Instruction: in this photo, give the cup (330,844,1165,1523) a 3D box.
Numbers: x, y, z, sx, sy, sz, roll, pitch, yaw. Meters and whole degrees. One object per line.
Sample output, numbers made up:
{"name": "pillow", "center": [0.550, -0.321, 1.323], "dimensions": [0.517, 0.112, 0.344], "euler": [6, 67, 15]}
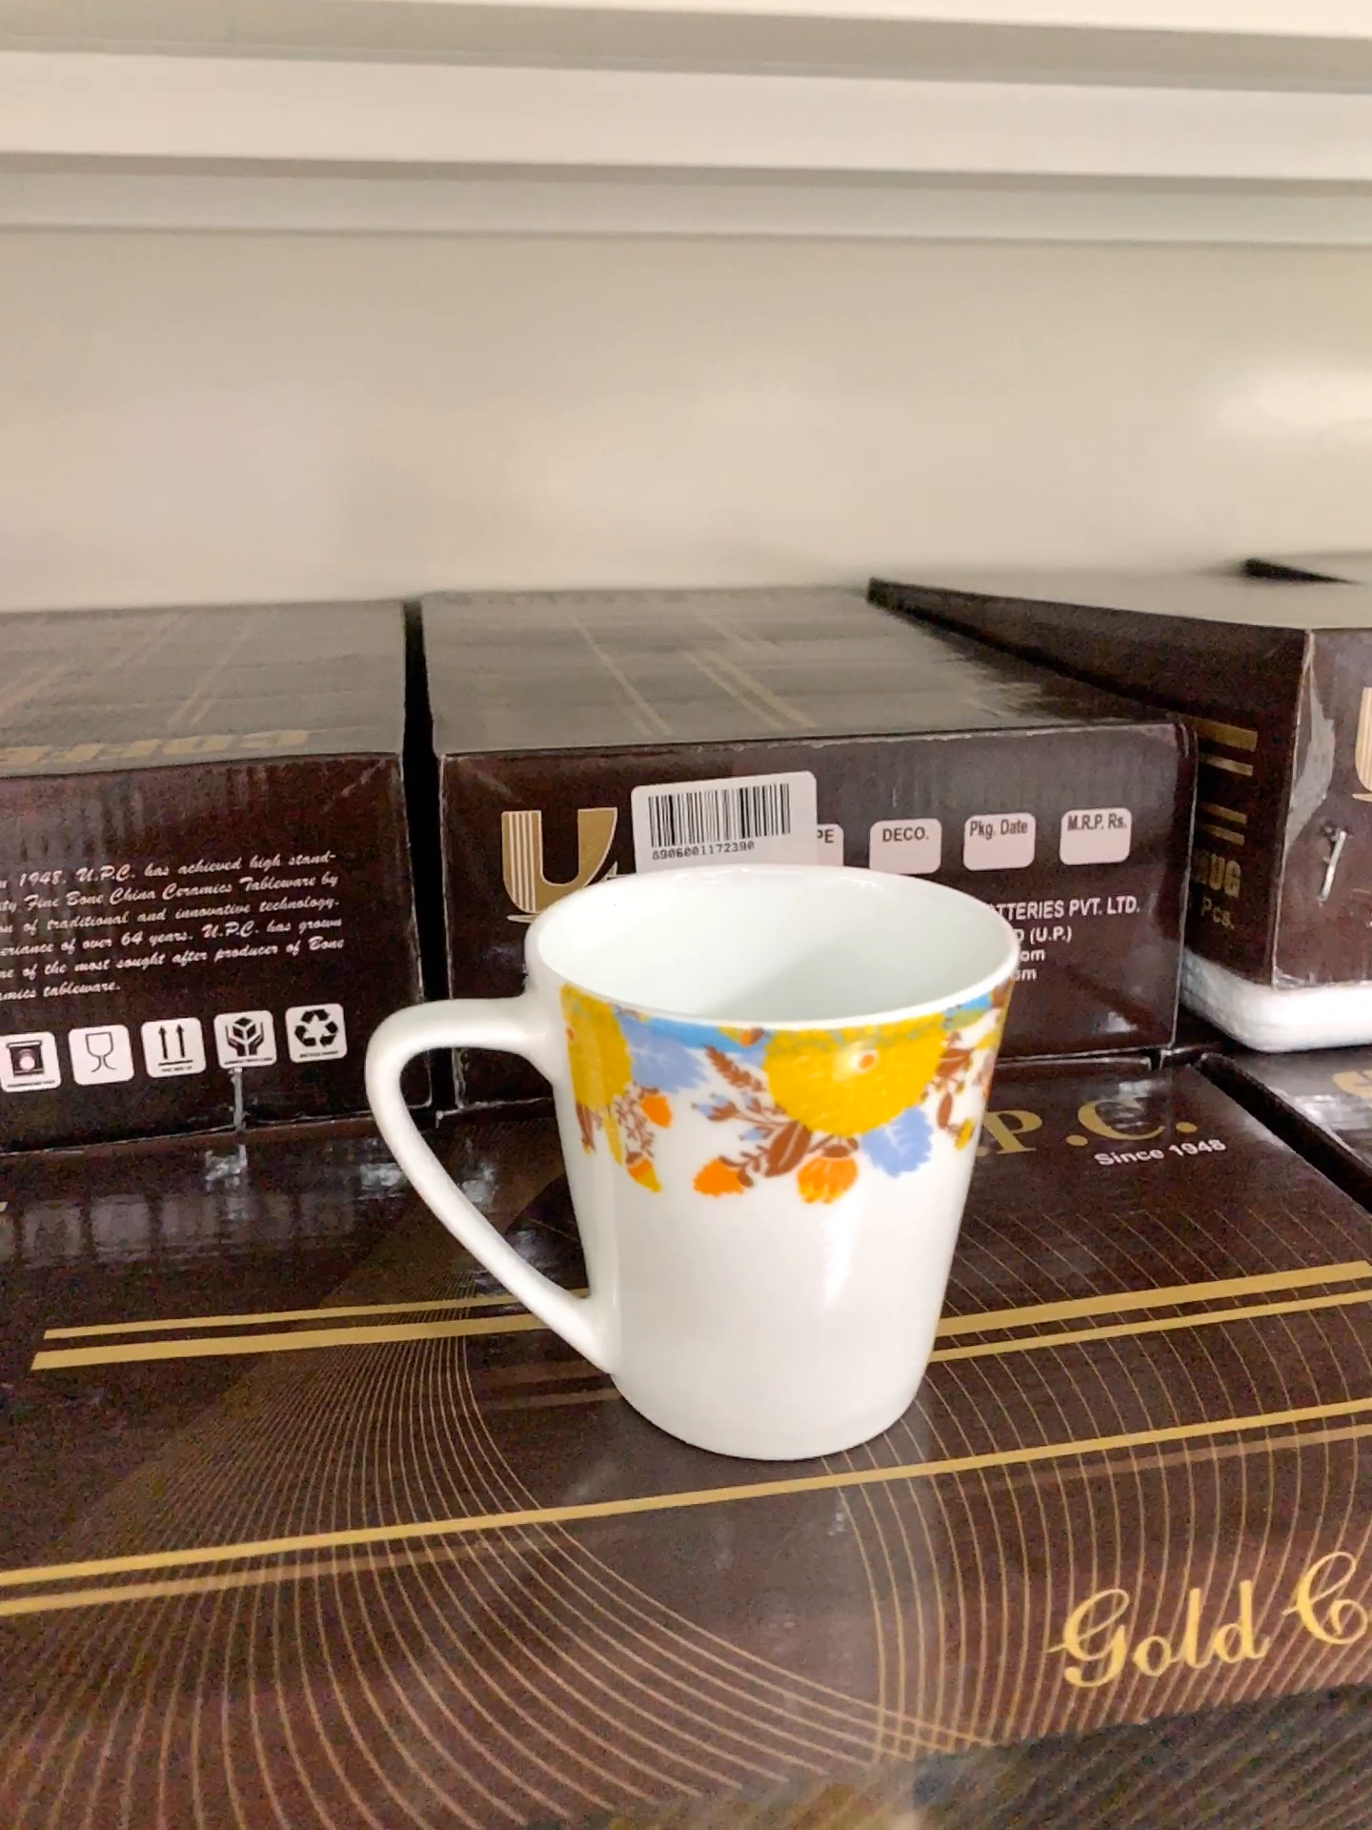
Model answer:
{"name": "cup", "center": [0.004, 0.030, 0.195], "dimensions": [0.092, 0.058, 0.068], "euler": [-3, 18, -8]}
